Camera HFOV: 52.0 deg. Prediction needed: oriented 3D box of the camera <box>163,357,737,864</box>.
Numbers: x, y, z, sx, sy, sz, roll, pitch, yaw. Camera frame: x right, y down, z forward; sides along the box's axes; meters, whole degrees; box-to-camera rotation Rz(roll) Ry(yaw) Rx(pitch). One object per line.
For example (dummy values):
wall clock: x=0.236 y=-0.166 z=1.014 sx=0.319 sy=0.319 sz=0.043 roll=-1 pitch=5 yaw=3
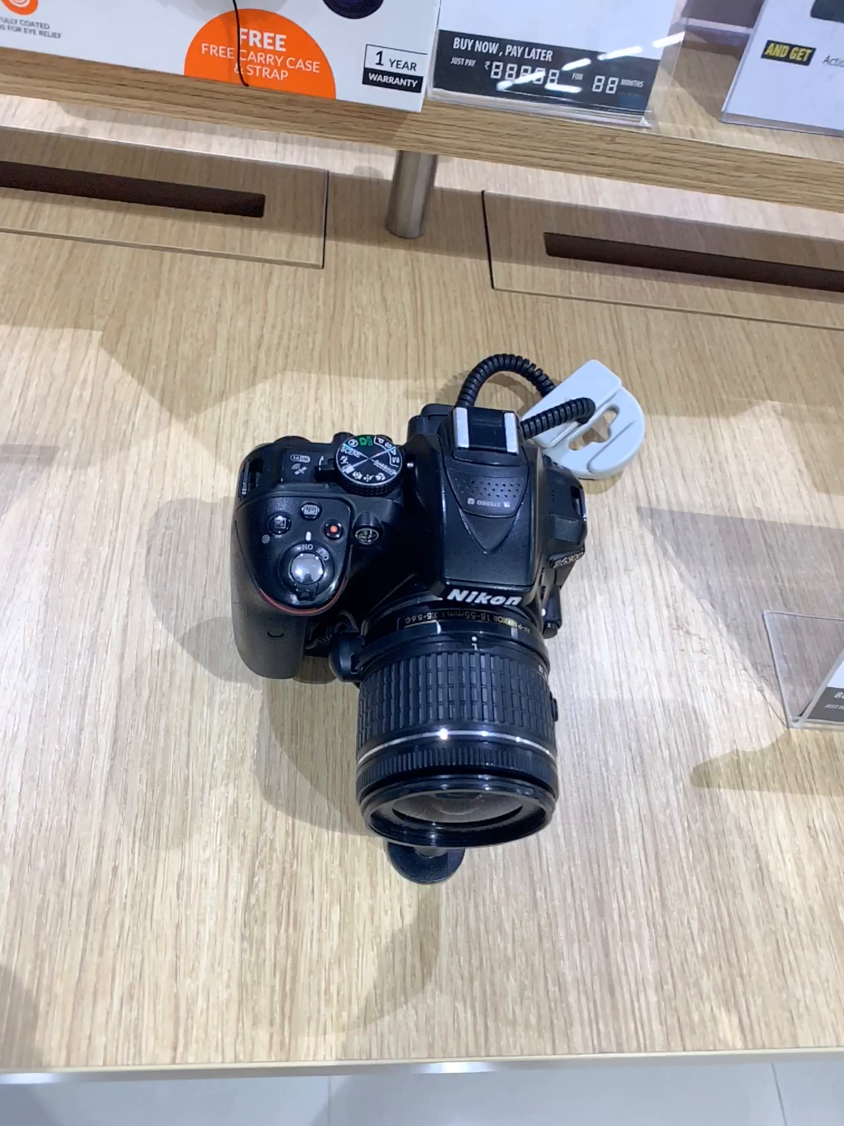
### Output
camera: x=0.000 y=0.016 z=0.258 sx=0.130 sy=0.080 sz=0.120 roll=2 pitch=56 yaw=-10
